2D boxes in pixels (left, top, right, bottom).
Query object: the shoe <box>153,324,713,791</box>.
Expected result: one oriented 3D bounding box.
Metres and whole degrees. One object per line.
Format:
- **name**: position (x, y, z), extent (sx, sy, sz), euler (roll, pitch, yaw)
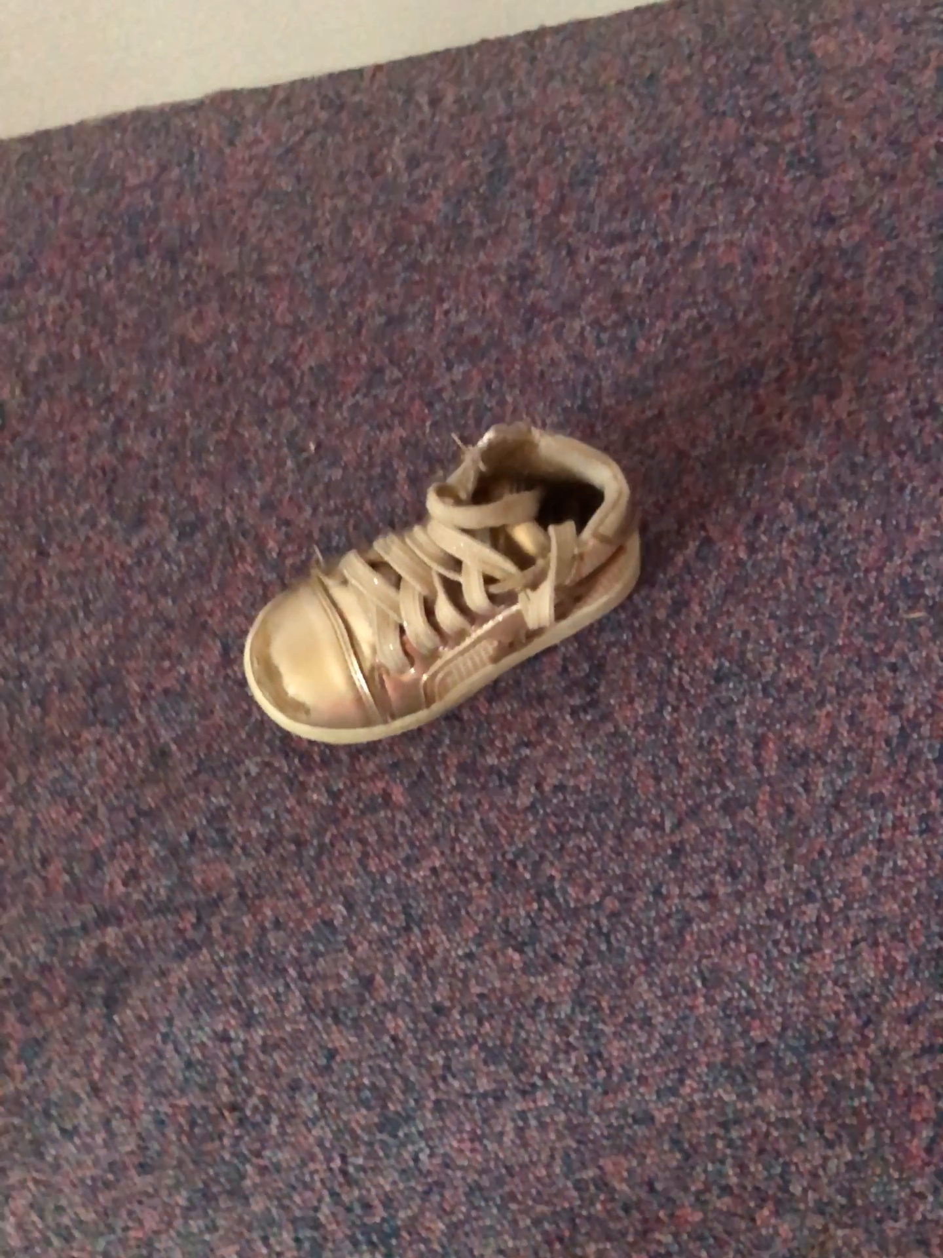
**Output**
- **shoe**: position (-0.011, -0.020, 0.352), extent (0.150, 0.080, 0.080), euler (-25, 73, -4)
